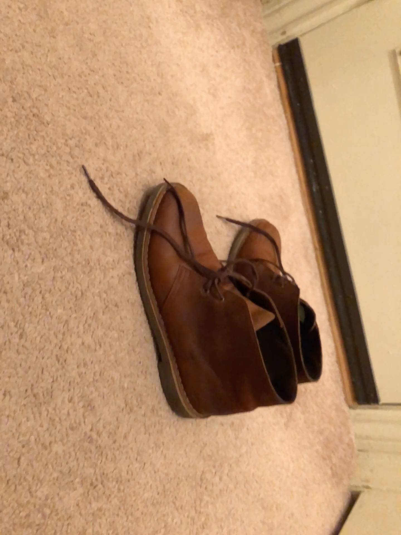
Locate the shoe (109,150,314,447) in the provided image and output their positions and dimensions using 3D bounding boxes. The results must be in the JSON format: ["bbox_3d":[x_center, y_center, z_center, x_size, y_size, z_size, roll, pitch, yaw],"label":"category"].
[{"bbox_3d":[0.015,0.034,0.524,0.111,0.138,0.303,-16,94,-54],"label":"shoe"}]

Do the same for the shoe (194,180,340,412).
[{"bbox_3d":[0.109,0.039,0.647,0.110,0.138,0.304,41,50,-40],"label":"shoe"}]
